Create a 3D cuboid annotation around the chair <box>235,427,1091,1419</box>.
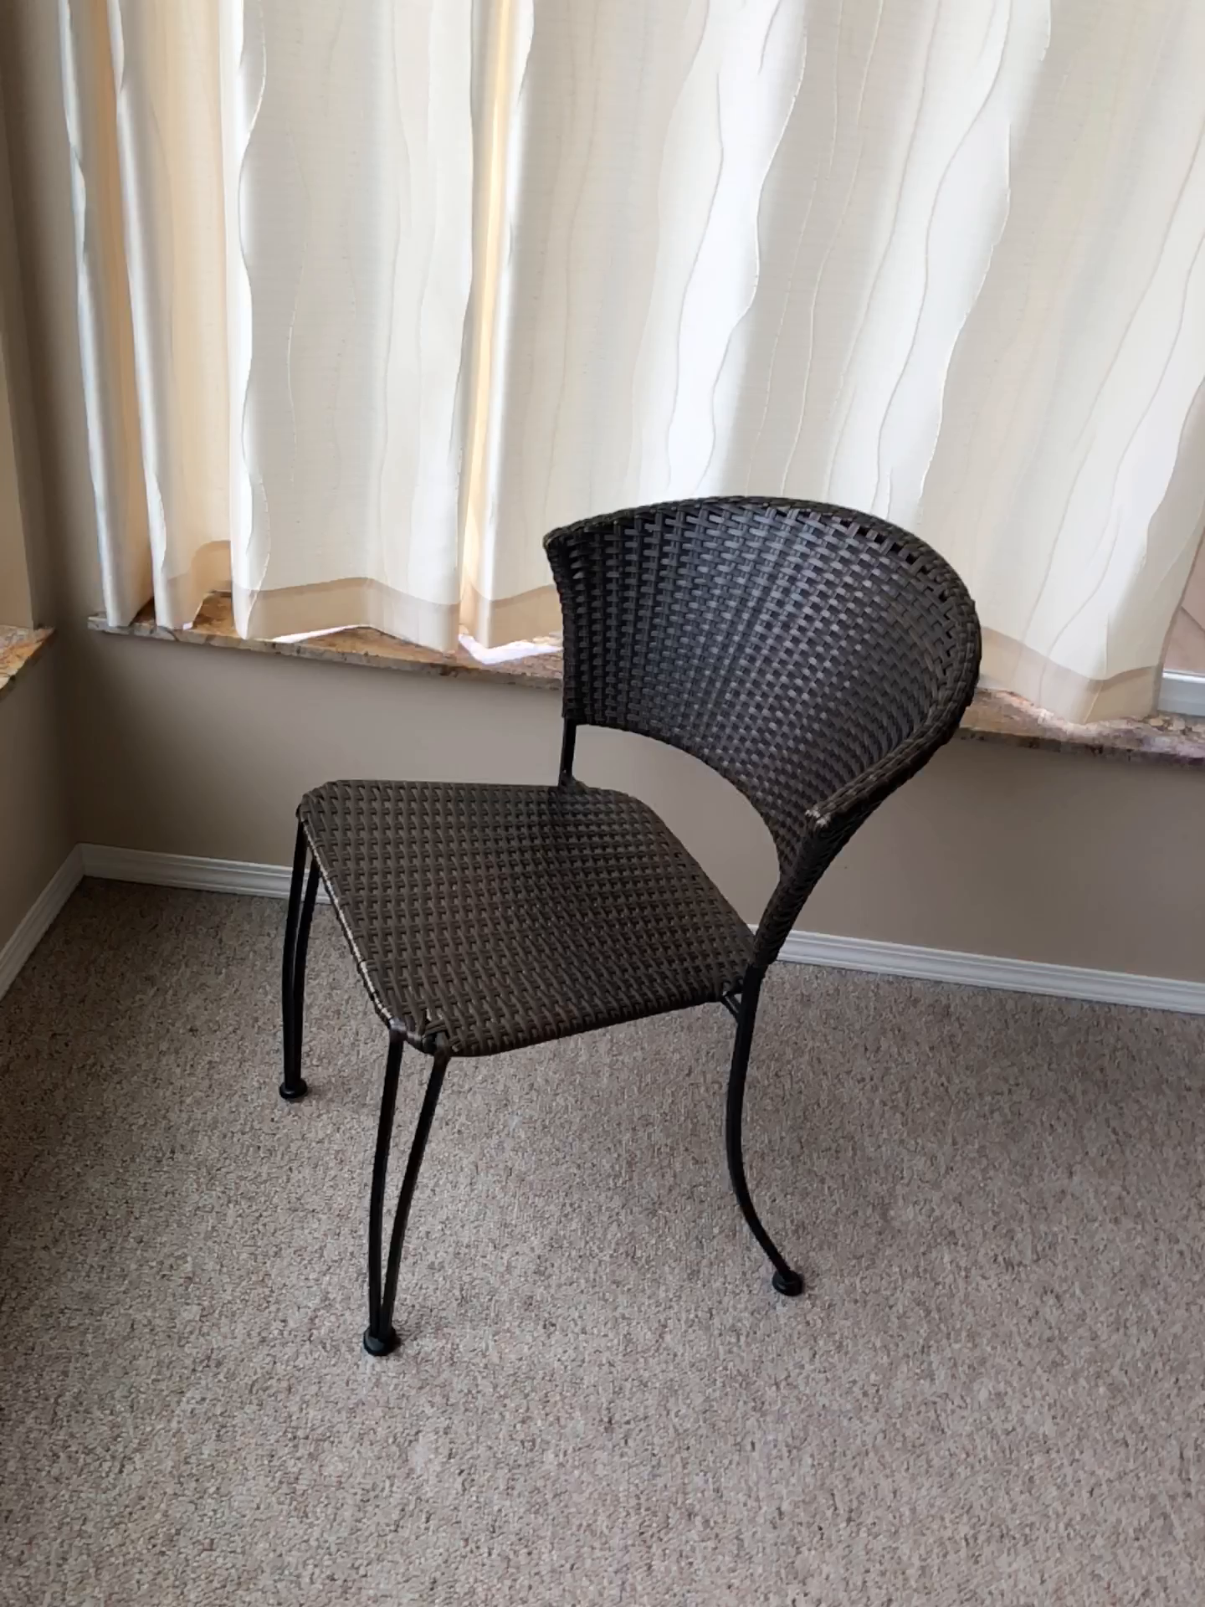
[{"bbox_3d":[-0.032,0.087,1.400,0.610,0.787,0.562,-5,34,-22],"label":"chair"}]
